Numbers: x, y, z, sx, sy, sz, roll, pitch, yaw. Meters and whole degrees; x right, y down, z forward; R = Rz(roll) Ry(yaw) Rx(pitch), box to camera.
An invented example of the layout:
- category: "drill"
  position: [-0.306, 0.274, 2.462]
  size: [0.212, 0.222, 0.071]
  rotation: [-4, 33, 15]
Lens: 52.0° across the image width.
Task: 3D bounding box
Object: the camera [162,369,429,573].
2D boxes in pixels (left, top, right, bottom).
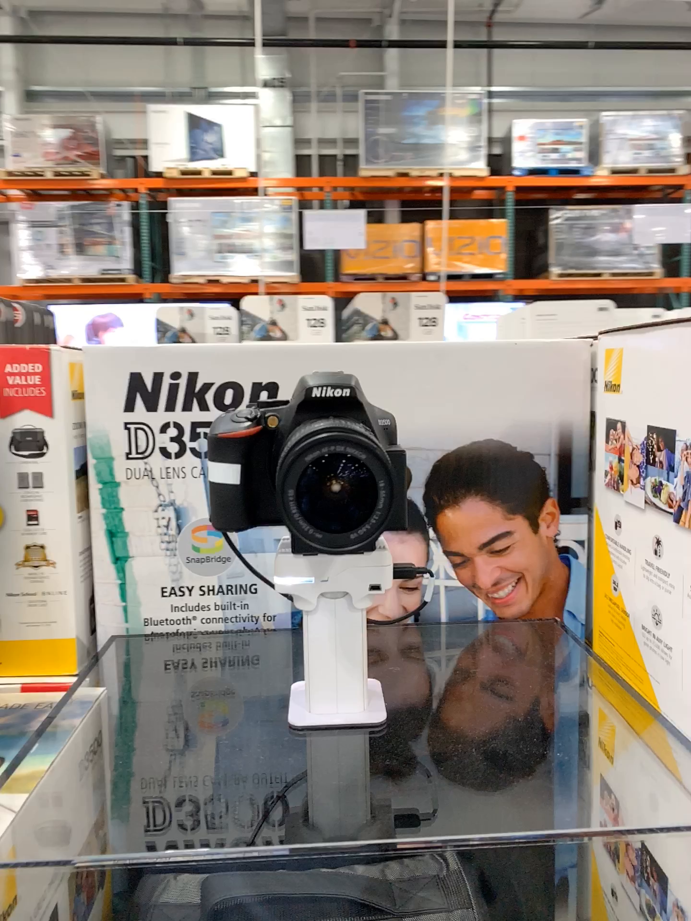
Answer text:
- category: "camera"
  position: [-0.027, -0.004, 0.427]
  size: [0.130, 0.100, 0.150]
  rotation: [-1, 7, -3]
